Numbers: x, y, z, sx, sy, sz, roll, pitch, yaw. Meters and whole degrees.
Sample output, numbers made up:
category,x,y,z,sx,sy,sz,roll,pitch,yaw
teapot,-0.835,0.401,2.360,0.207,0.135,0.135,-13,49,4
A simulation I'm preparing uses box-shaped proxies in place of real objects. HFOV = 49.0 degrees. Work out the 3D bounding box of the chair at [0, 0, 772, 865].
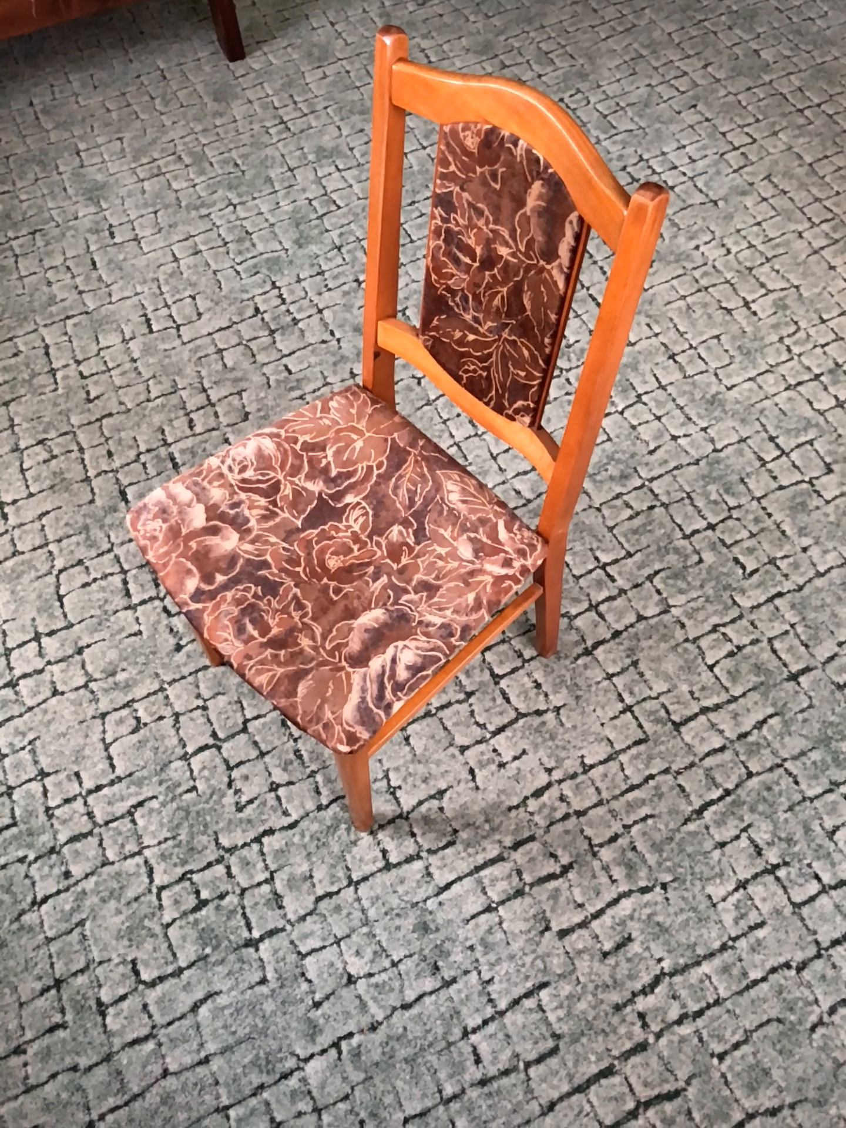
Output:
category,x,y,z,sx,sy,sz,roll,pitch,yaw
chair,-0.042,-0.086,1.204,0.551,0.875,0.481,-37,64,-18
